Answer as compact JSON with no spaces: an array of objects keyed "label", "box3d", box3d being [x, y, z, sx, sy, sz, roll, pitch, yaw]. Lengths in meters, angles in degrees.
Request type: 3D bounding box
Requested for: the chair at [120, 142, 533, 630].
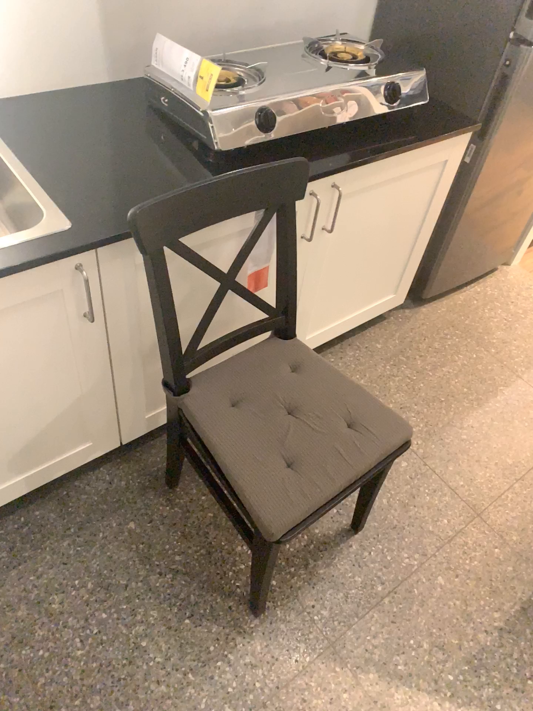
[{"label":"chair","box3d":[0.044,0.092,1.111,0.421,0.787,0.491,-28,57,-30]}]
